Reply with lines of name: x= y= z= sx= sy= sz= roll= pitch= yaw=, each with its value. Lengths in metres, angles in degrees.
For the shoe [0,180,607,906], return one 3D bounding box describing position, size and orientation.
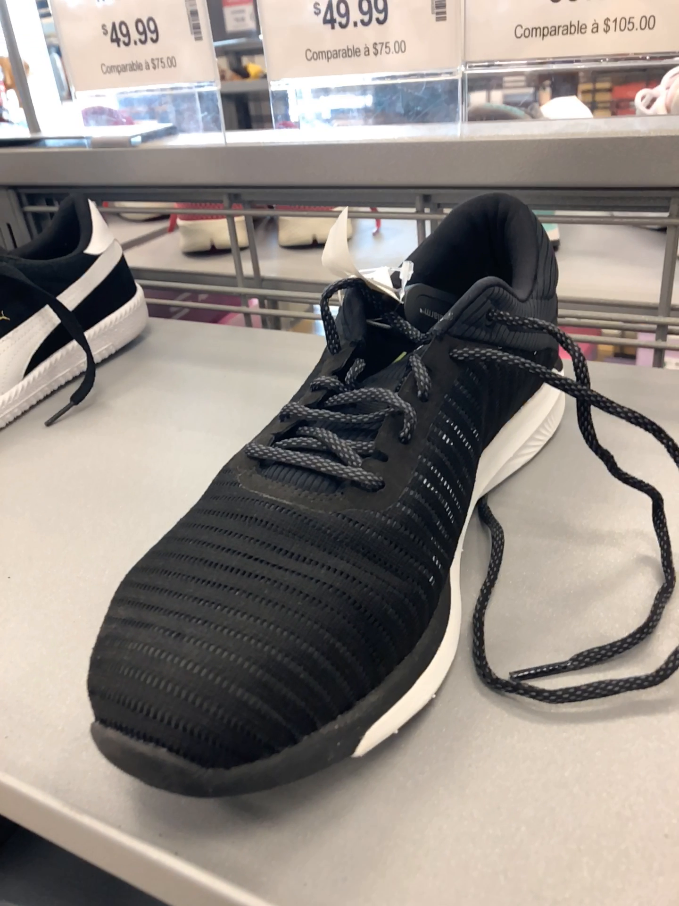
shoe: x=0.014 y=-0.016 z=0.305 sx=0.120 sy=0.119 sz=0.302 roll=10 pitch=34 yaw=26
